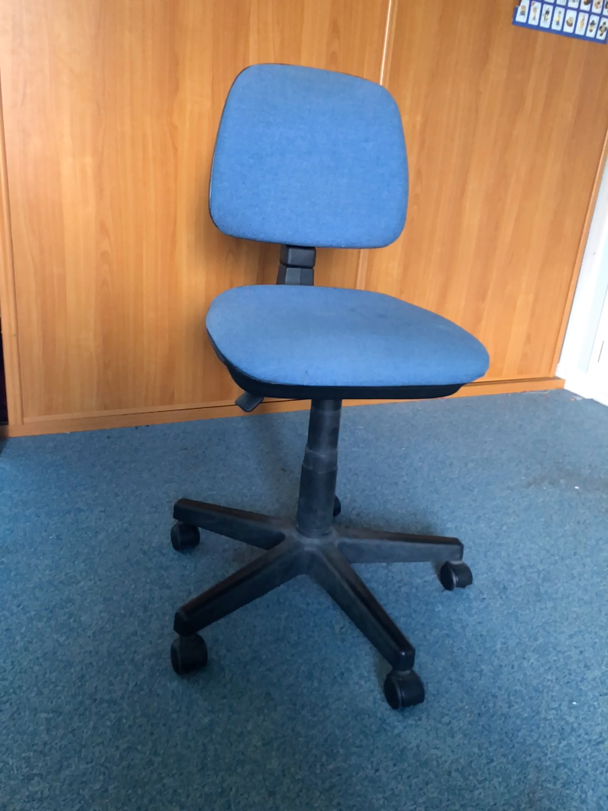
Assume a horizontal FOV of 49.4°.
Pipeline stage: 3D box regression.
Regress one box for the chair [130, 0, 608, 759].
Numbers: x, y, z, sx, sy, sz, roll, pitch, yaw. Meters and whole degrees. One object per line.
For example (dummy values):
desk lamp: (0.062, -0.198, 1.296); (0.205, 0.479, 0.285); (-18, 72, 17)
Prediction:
chair: (0.051, -0.108, 1.153); (0.651, 0.915, 0.762); (-1, 21, -18)
